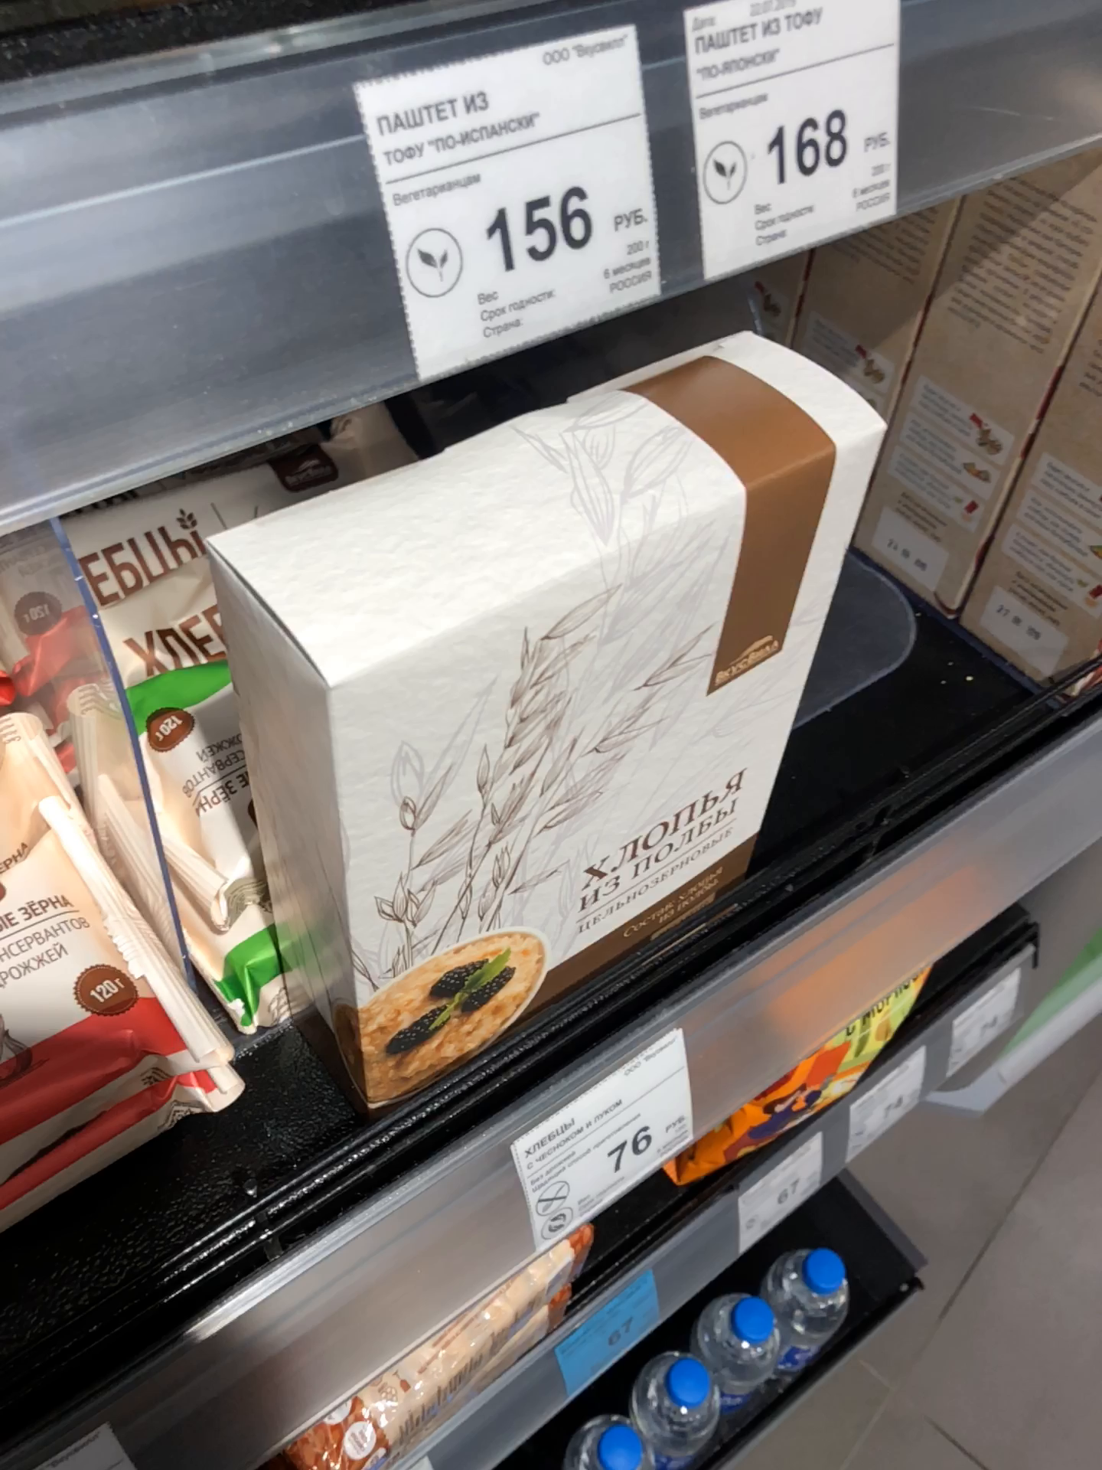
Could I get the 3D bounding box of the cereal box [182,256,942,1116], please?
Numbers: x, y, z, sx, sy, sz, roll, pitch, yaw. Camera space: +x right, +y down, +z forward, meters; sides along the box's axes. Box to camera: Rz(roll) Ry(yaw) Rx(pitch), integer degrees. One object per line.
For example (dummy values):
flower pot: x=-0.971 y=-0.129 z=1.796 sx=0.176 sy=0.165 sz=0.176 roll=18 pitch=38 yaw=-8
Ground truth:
cereal box: x=0.003 y=-0.003 z=0.312 sx=0.150 sy=0.189 sz=0.050 roll=-27 pitch=56 yaw=-25
